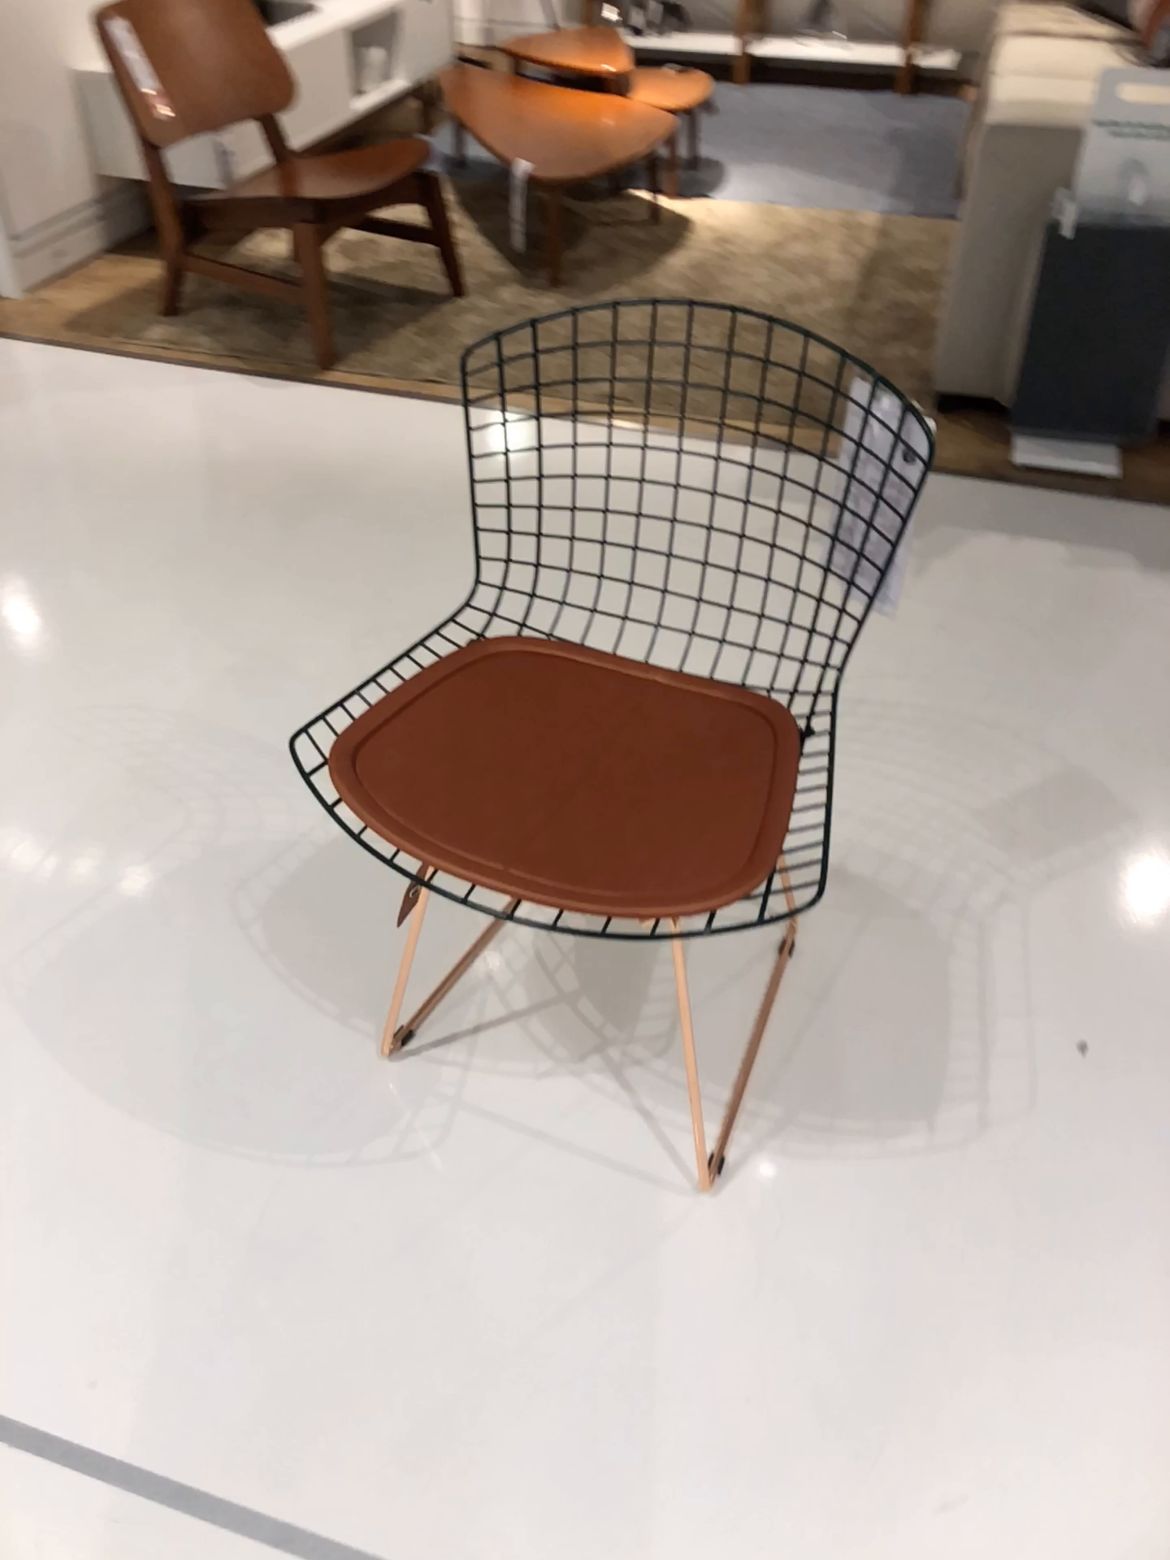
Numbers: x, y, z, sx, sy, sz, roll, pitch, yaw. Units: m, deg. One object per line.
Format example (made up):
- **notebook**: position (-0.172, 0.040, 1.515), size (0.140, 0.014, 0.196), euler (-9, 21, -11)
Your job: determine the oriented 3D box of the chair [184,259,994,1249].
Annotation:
- **chair**: position (0.031, -0.036, 1.278), size (0.491, 0.724, 0.503), euler (18, 43, 20)
